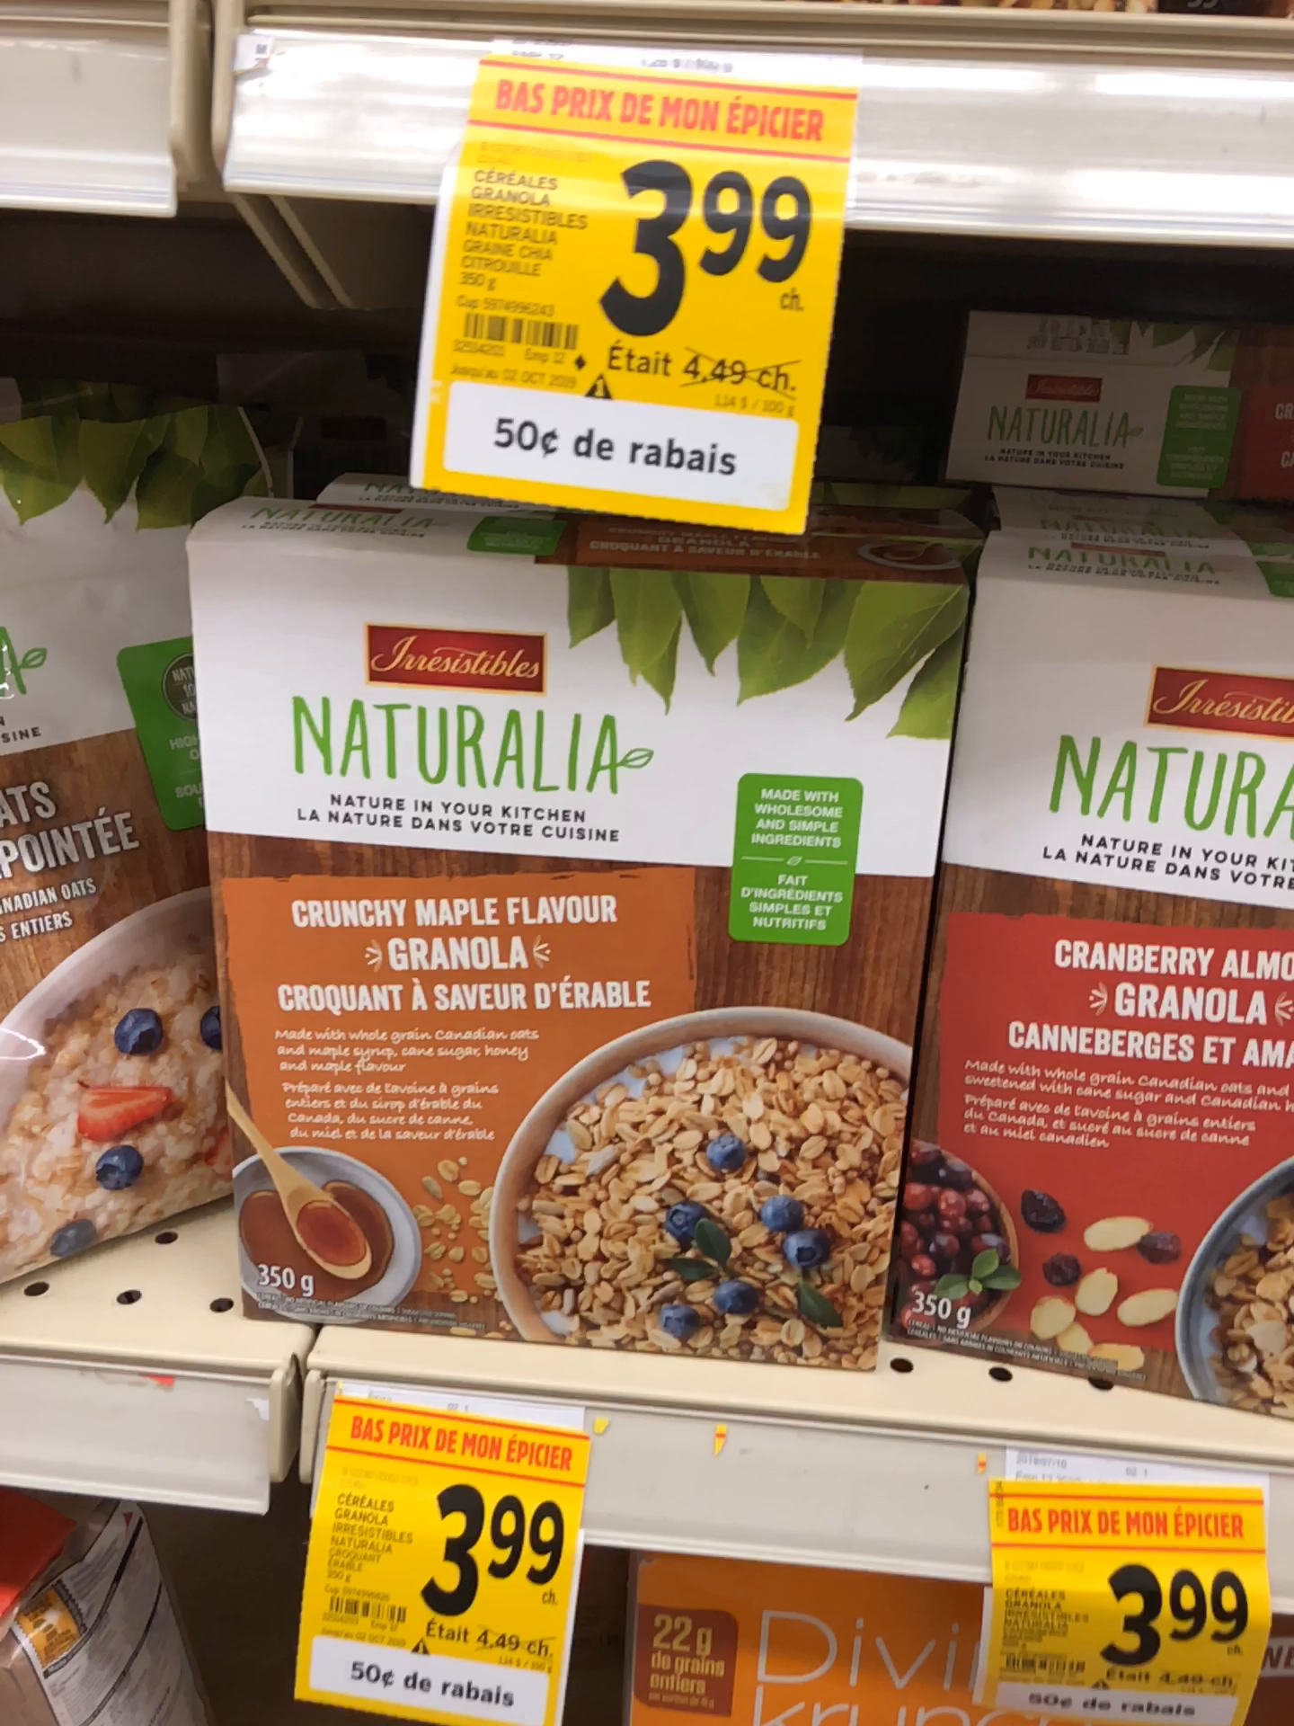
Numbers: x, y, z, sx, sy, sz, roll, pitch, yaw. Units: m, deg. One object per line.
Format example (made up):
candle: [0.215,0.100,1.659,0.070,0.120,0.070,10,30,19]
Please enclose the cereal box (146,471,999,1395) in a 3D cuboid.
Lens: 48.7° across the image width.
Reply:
cereal box: [-0.019,0.021,0.346,0.170,0.209,0.050,4,22,3]
